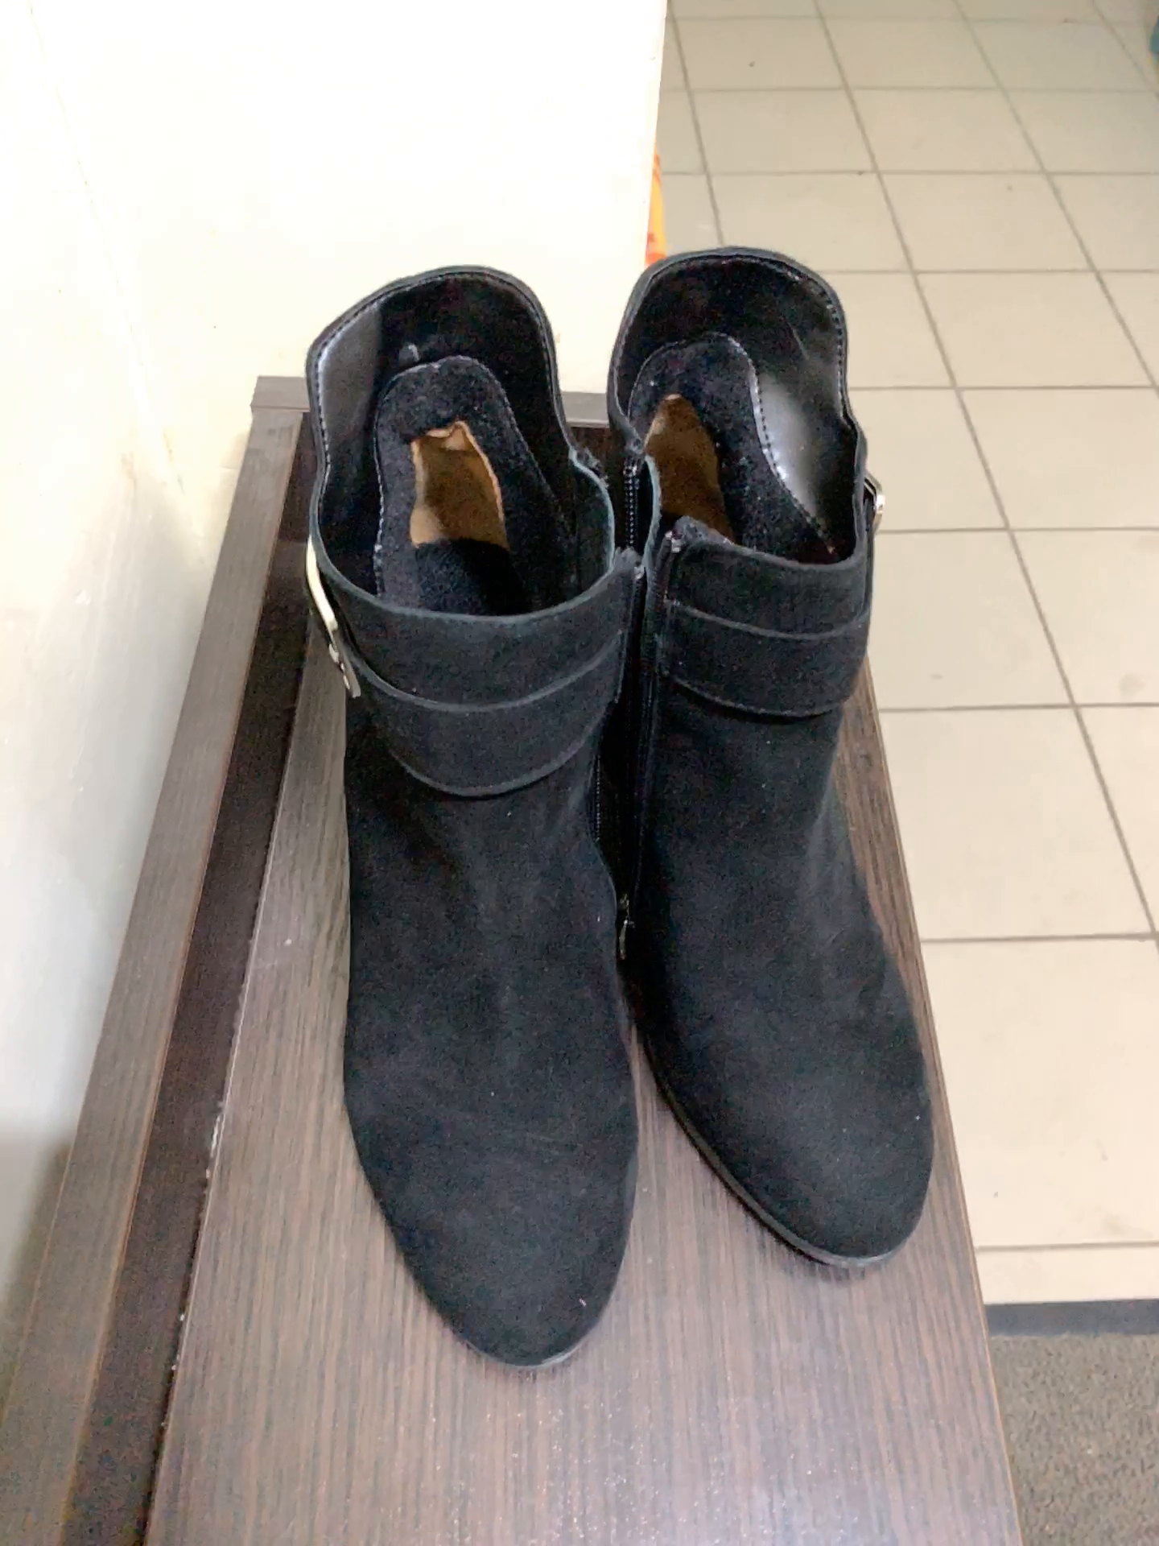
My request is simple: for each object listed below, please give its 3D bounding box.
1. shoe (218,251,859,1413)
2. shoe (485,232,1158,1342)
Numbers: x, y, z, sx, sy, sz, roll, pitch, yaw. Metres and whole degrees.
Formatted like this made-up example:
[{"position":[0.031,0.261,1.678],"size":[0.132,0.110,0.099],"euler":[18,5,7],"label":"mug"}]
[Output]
[{"position":[-0.028,0.017,0.324],"size":[0.088,0.189,0.241],"euler":[-9,55,-9],"label":"shoe"},{"position":[0.056,0.005,0.342],"size":[0.088,0.189,0.241],"euler":[-17,56,-14],"label":"shoe"}]
